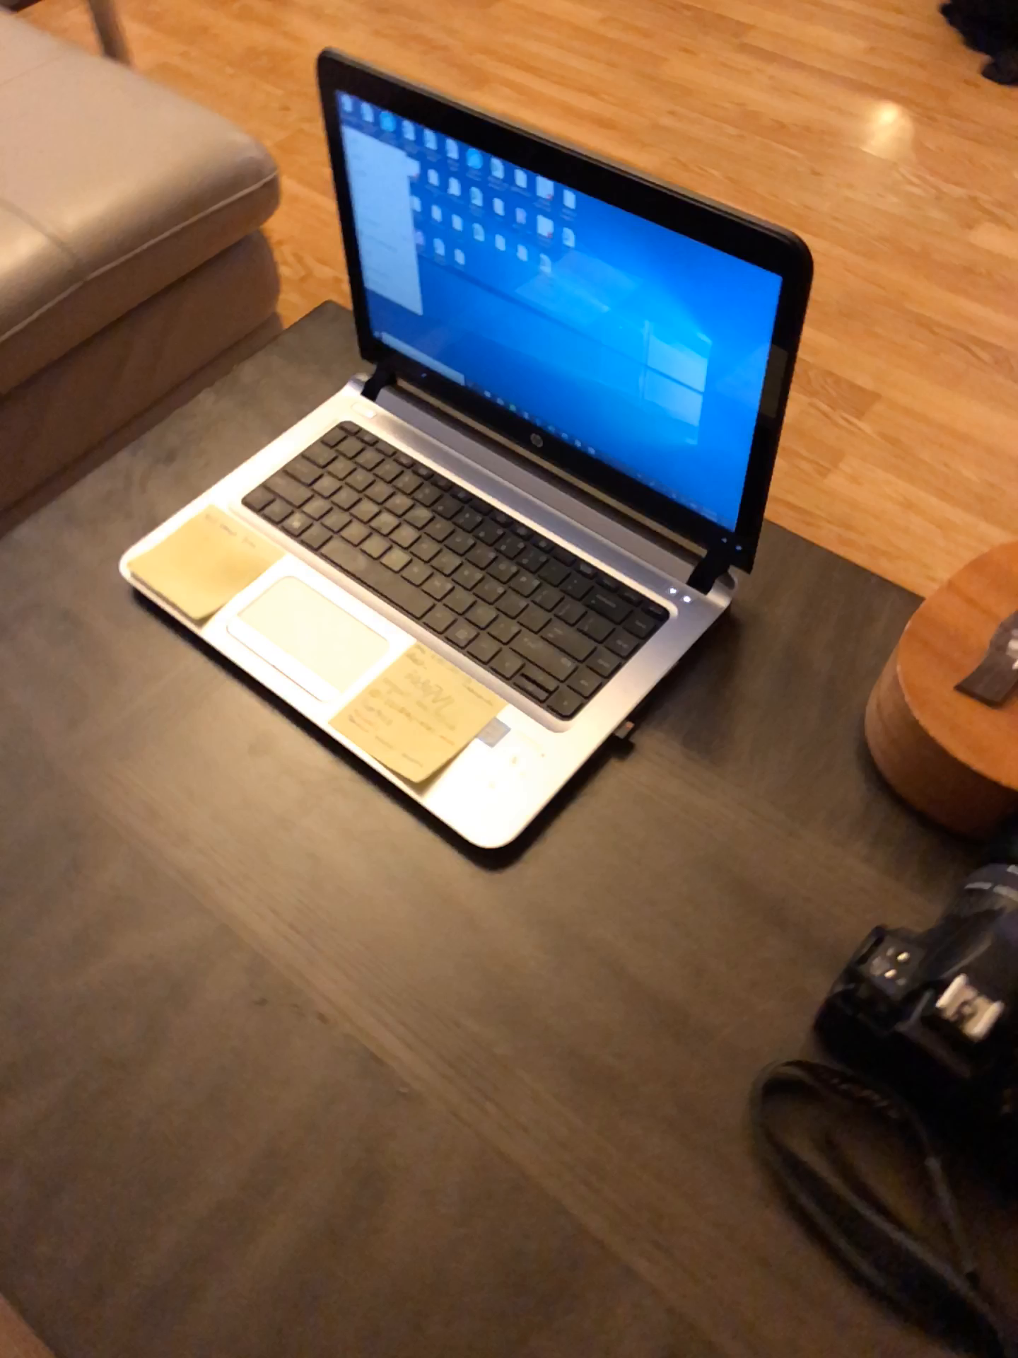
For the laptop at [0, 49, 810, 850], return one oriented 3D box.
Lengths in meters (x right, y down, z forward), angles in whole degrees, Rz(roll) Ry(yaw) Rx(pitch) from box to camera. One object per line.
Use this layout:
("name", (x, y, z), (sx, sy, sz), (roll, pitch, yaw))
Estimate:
("laptop", (-0.056, -0.135, 0.611), (0.318, 0.217, 0.247), (33, 64, 24))
